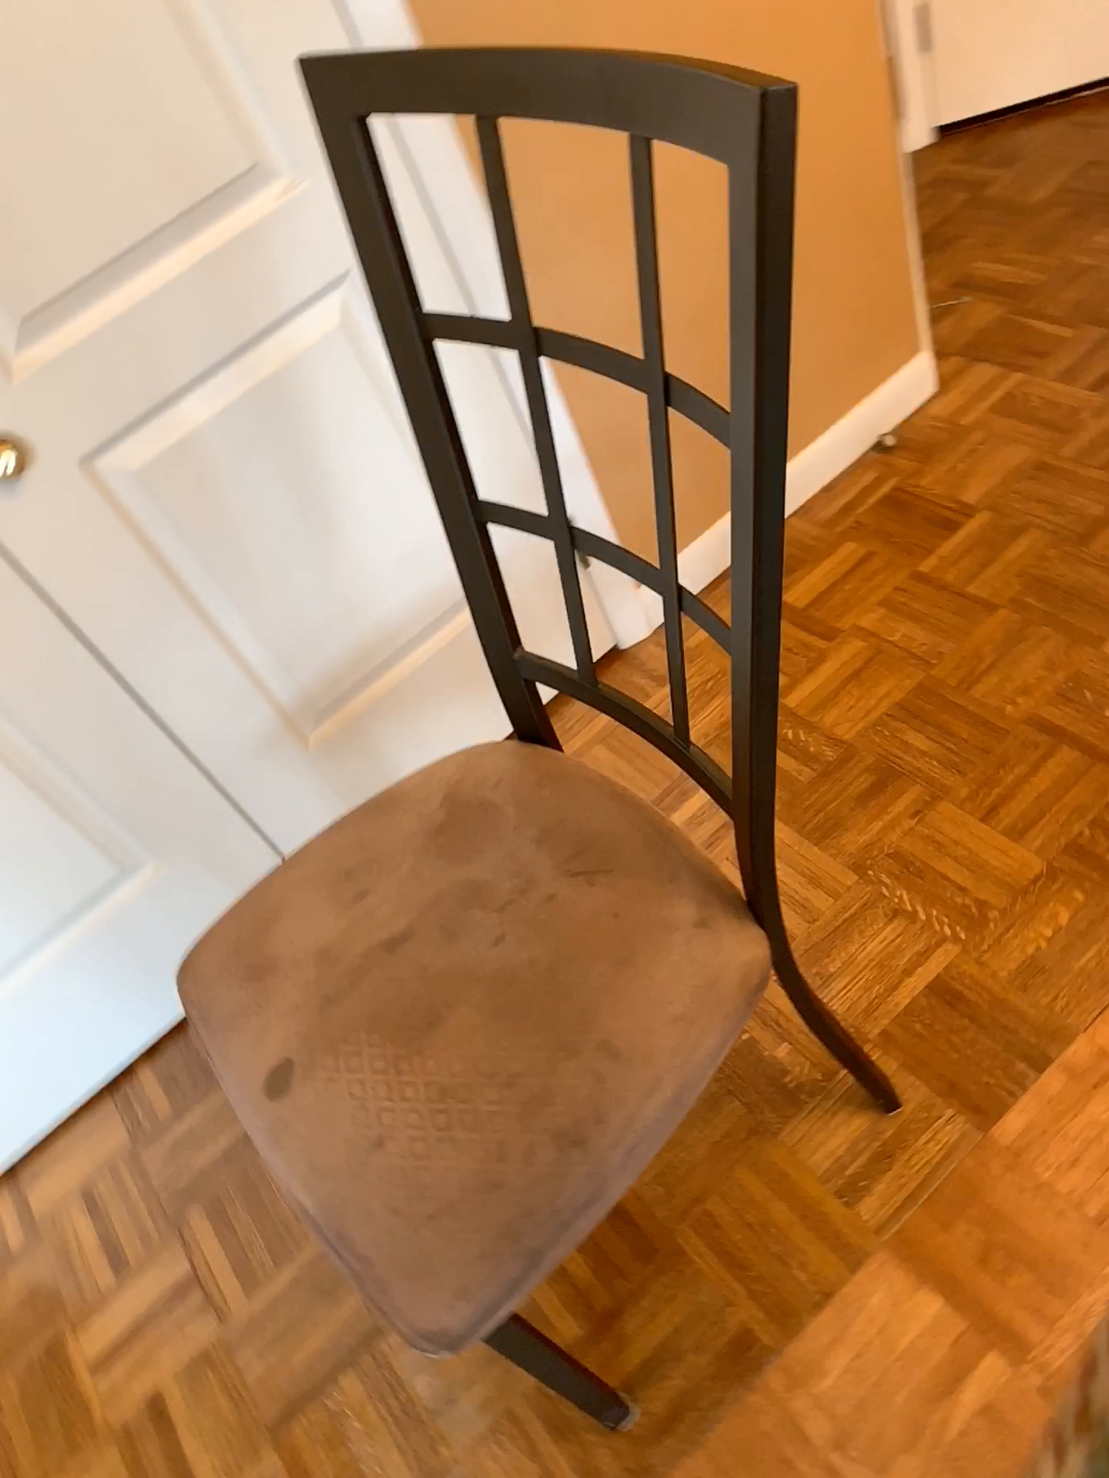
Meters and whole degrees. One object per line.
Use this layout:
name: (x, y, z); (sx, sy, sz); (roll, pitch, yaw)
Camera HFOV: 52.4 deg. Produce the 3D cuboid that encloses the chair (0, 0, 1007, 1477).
chair: (-0.079, 0.089, 0.888); (0.620, 0.985, 0.513); (-39, 45, -15)
